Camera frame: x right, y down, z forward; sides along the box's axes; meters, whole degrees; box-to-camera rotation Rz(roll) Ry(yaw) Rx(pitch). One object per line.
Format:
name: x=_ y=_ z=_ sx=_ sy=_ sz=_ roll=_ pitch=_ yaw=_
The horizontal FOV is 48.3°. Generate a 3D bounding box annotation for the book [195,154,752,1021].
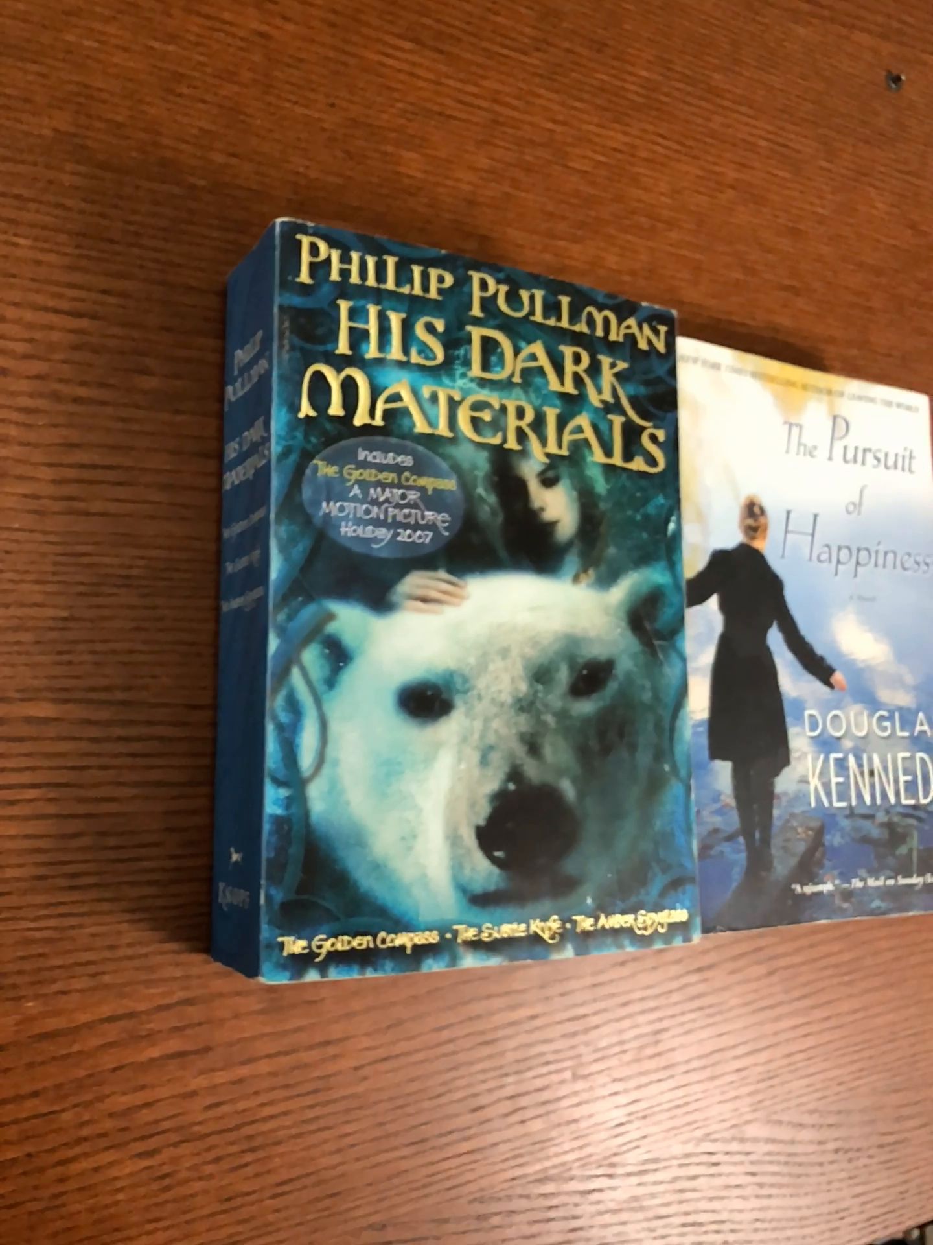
book: x=0.006 y=-0.009 z=0.359 sx=0.181 sy=0.050 sz=0.250 roll=4 pitch=80 yaw=-28

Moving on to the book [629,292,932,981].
book: x=0.158 y=0.007 z=0.434 sx=0.181 sy=0.040 sz=0.250 roll=4 pitch=80 yaw=-28
